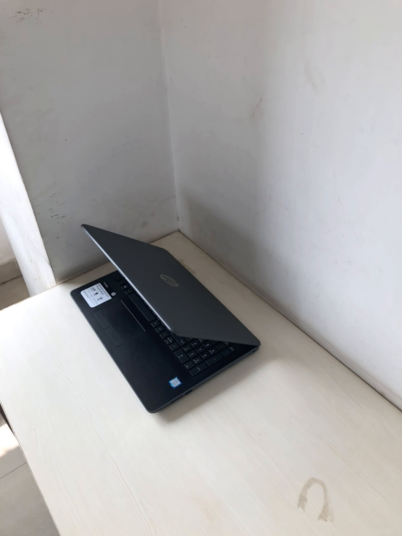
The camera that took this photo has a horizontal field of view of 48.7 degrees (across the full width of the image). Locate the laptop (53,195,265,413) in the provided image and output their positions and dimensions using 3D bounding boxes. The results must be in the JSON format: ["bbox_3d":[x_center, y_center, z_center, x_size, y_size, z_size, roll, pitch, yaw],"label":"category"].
[{"bbox_3d":[-0.088,0.042,0.868,0.245,0.157,0.357,-25,47,-26],"label":"laptop"}]
